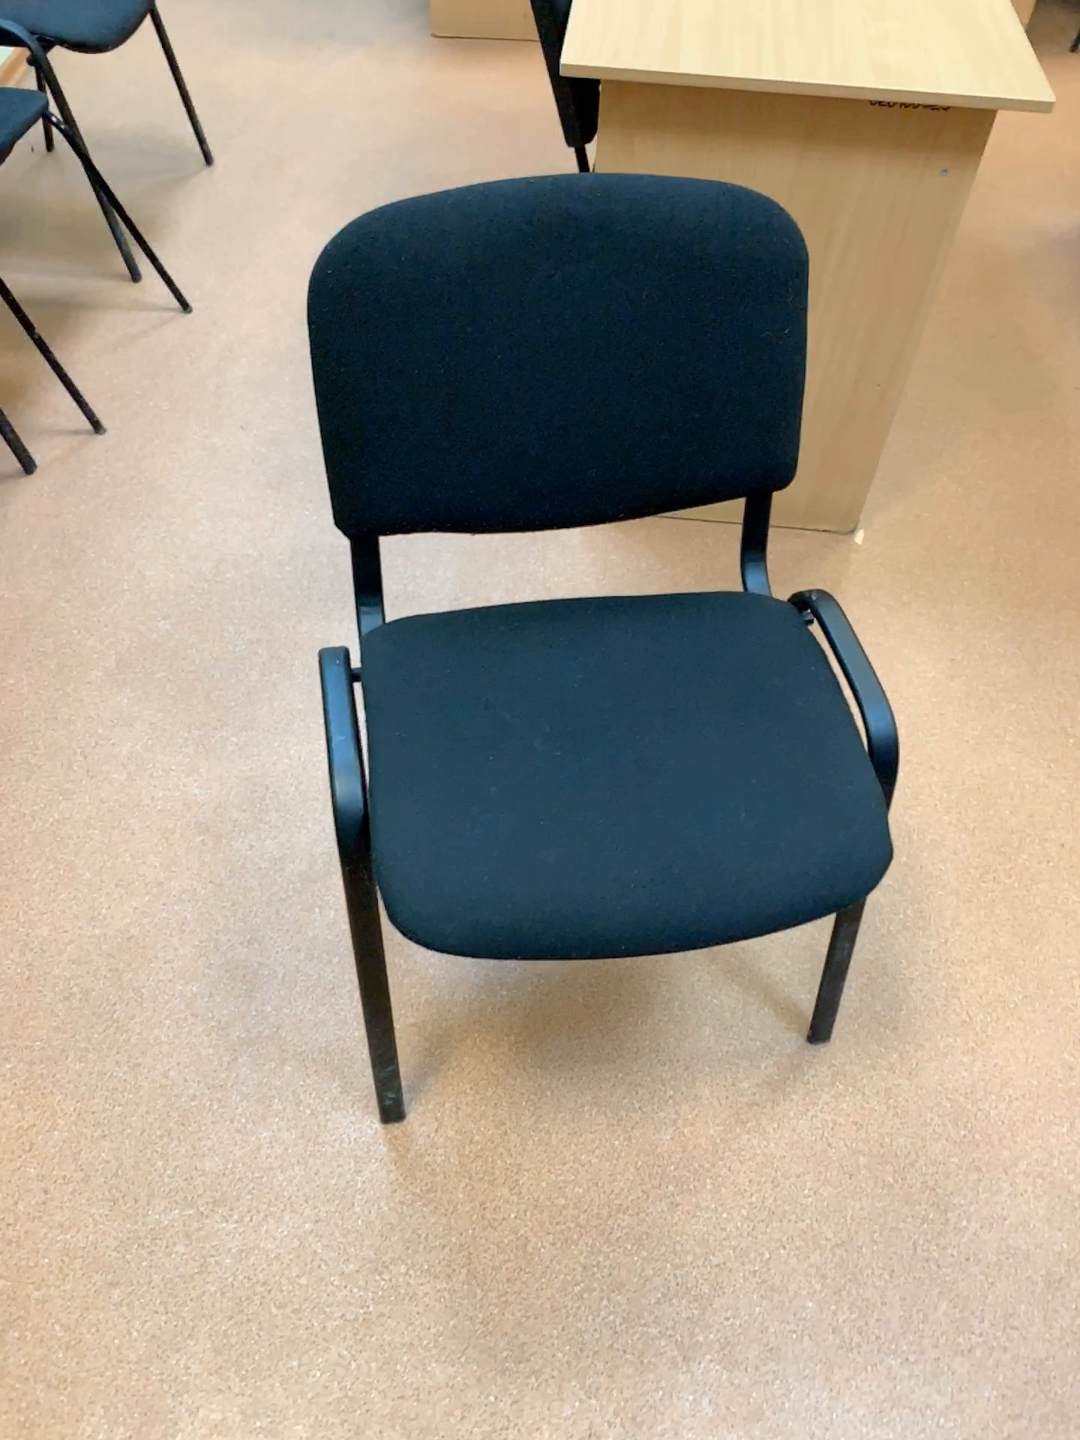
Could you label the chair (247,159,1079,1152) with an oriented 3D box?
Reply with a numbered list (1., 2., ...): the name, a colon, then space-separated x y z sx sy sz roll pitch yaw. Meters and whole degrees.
1. chair: 0.060 -0.027 1.132 0.574 0.784 0.595 -6 52 -7
